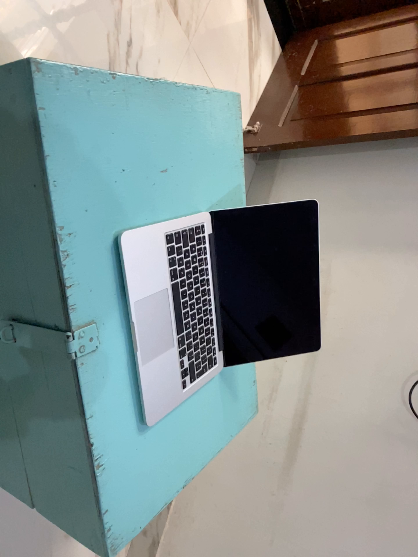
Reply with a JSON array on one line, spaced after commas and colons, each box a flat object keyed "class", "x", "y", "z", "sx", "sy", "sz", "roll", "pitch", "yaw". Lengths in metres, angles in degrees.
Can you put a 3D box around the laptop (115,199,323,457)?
[{"class": "laptop", "x": 0.054, "y": 0.045, "z": 0.745, "sx": 0.379, "sy": 0.148, "sz": 0.313, "roll": -26, "pitch": 115, "yaw": -51}]
